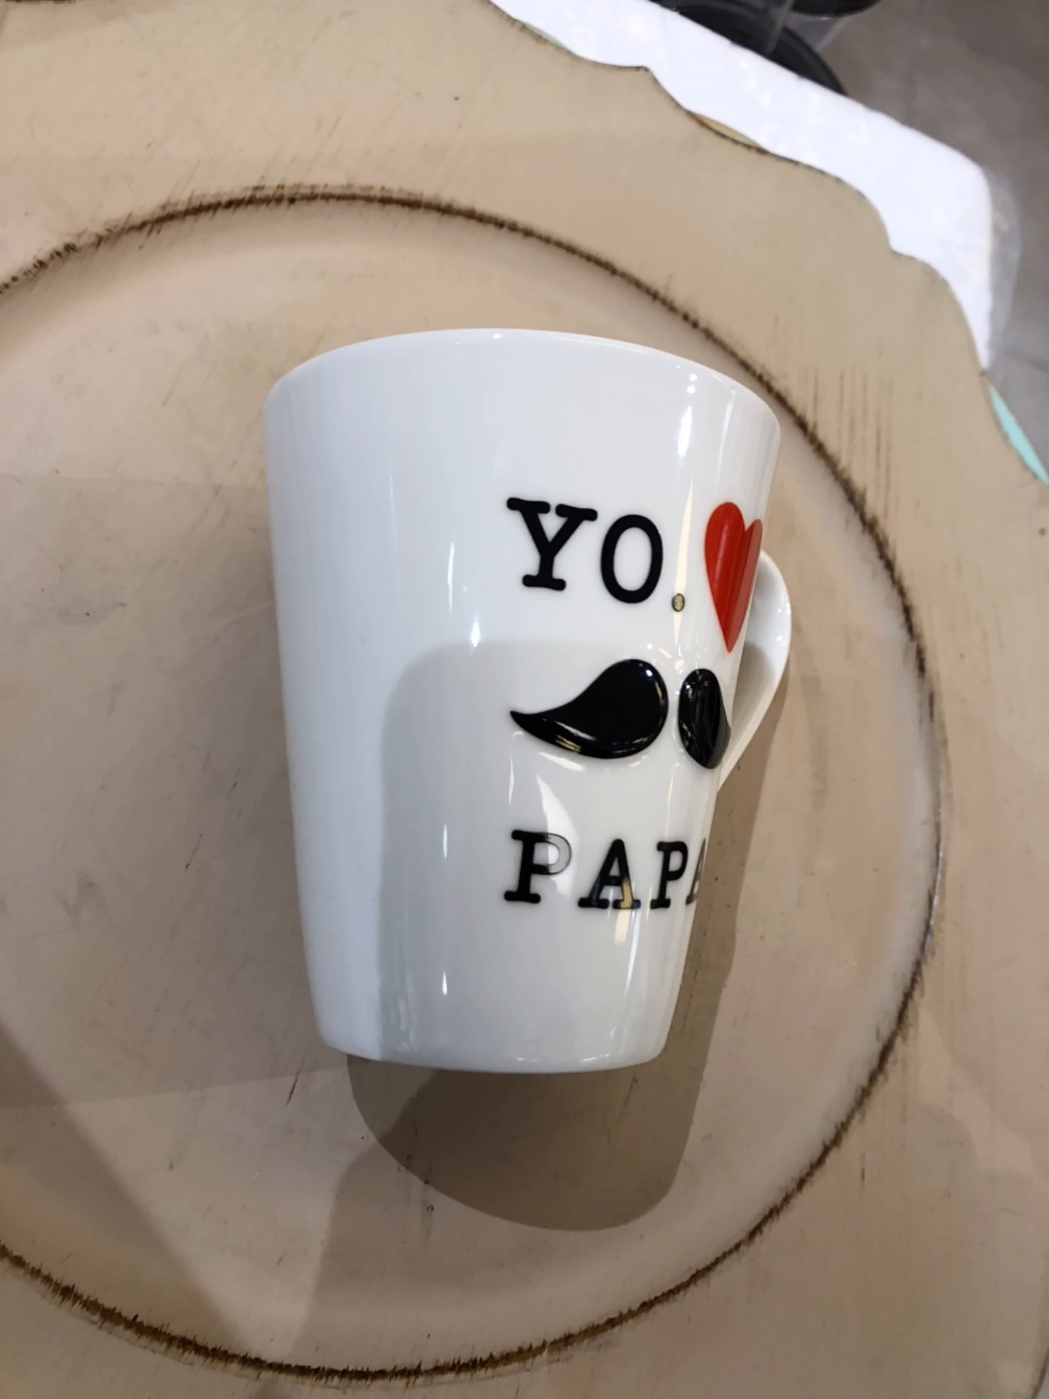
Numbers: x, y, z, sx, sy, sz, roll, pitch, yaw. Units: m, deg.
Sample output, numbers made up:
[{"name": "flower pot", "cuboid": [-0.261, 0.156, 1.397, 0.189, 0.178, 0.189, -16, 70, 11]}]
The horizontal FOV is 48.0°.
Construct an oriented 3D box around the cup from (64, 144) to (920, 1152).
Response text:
[{"name": "cup", "cuboid": [-0.003, -0.001, 0.209, 0.110, 0.090, 0.120, 1, 88, -41]}]
